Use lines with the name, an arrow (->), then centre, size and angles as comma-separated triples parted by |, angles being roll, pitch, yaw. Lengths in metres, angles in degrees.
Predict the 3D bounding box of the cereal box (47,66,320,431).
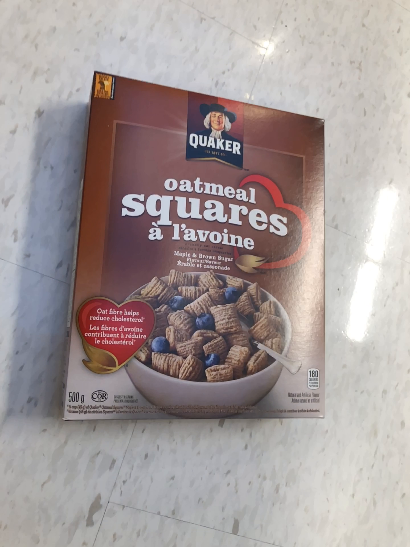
cereal box -> -0.012, -0.013, 0.391 | 0.210, 0.070, 0.270 | 5, 80, -17
